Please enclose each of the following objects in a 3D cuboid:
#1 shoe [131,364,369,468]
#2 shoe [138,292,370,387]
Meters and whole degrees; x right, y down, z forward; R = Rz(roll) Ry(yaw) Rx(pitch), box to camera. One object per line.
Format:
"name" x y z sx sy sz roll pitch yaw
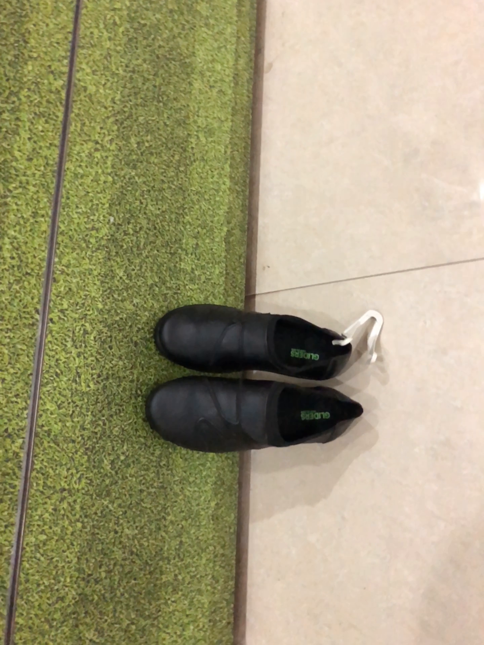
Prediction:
"shoe" 0.008 0.100 0.579 0.236 0.081 0.090 4 80 -2
"shoe" 0.013 0.022 0.593 0.236 0.081 0.080 4 80 -2
